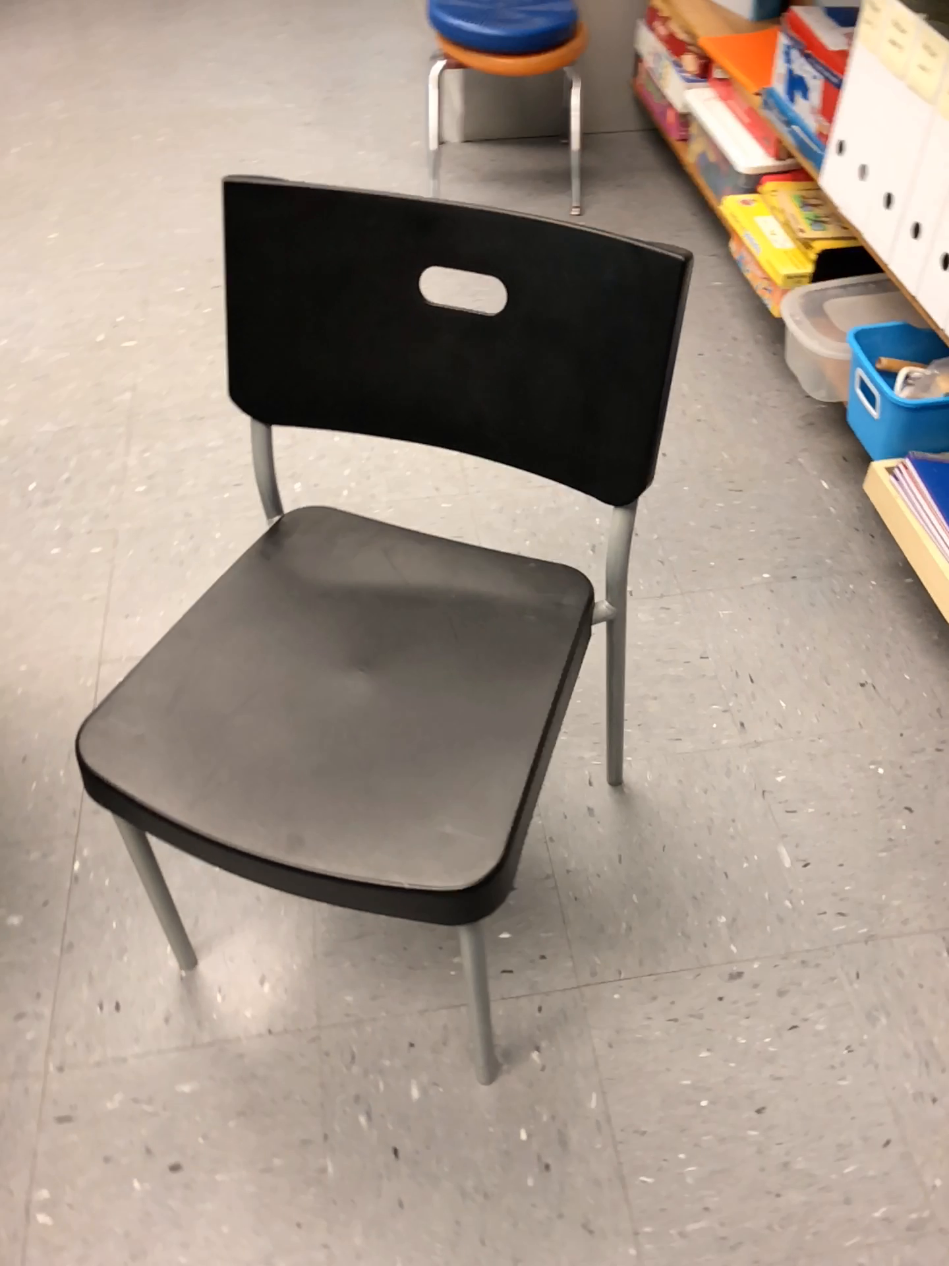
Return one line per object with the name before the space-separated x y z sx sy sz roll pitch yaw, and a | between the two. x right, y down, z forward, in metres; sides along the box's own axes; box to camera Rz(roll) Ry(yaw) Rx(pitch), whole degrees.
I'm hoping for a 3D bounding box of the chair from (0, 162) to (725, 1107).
chair | -0.083 0.035 1.063 0.466 0.777 0.474 15 49 15
